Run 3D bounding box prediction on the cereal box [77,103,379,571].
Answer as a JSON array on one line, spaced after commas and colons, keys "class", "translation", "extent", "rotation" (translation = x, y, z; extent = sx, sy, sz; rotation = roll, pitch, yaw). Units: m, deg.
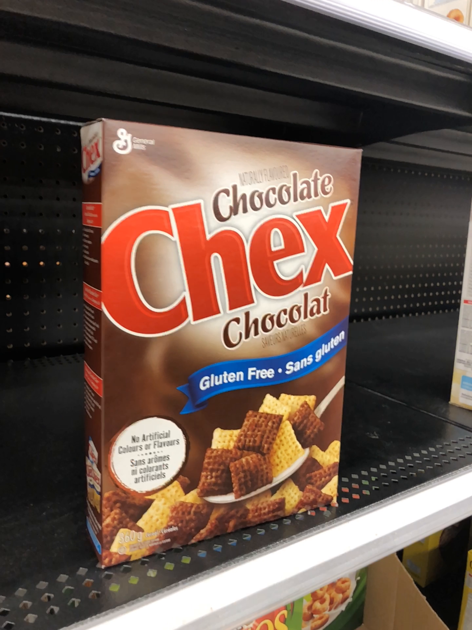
[{"class": "cereal box", "translation": [-0.004, 0.014, 0.372], "extent": [0.200, 0.279, 0.050], "rotation": [-3, 12, -28]}]
